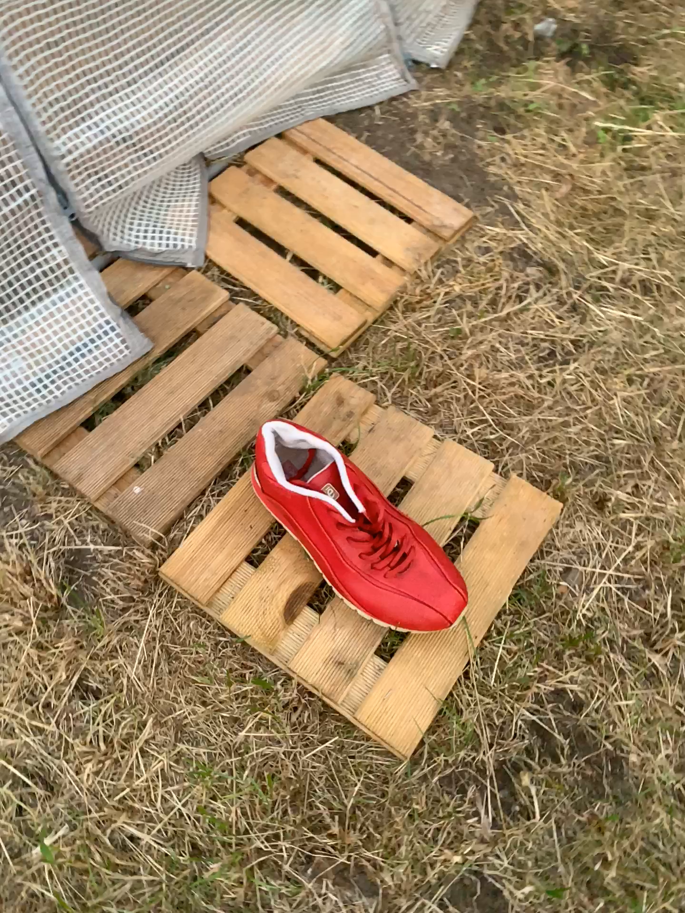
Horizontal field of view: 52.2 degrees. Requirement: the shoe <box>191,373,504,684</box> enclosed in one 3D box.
[{"bbox_3d":[-0.001,0.063,0.660,0.281,0.129,0.100,38,67,24],"label":"shoe"}]
